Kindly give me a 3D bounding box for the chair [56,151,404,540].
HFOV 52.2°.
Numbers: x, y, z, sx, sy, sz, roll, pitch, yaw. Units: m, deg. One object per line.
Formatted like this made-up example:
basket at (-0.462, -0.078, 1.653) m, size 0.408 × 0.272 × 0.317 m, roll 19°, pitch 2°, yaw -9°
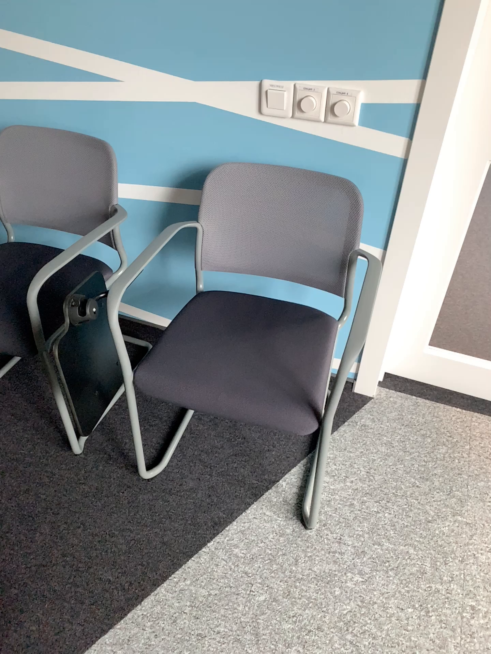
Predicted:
chair at (0.020, 0.014, 1.291) m, size 0.570 × 0.627 × 0.643 m, roll 13°, pitch 43°, yaw 13°
